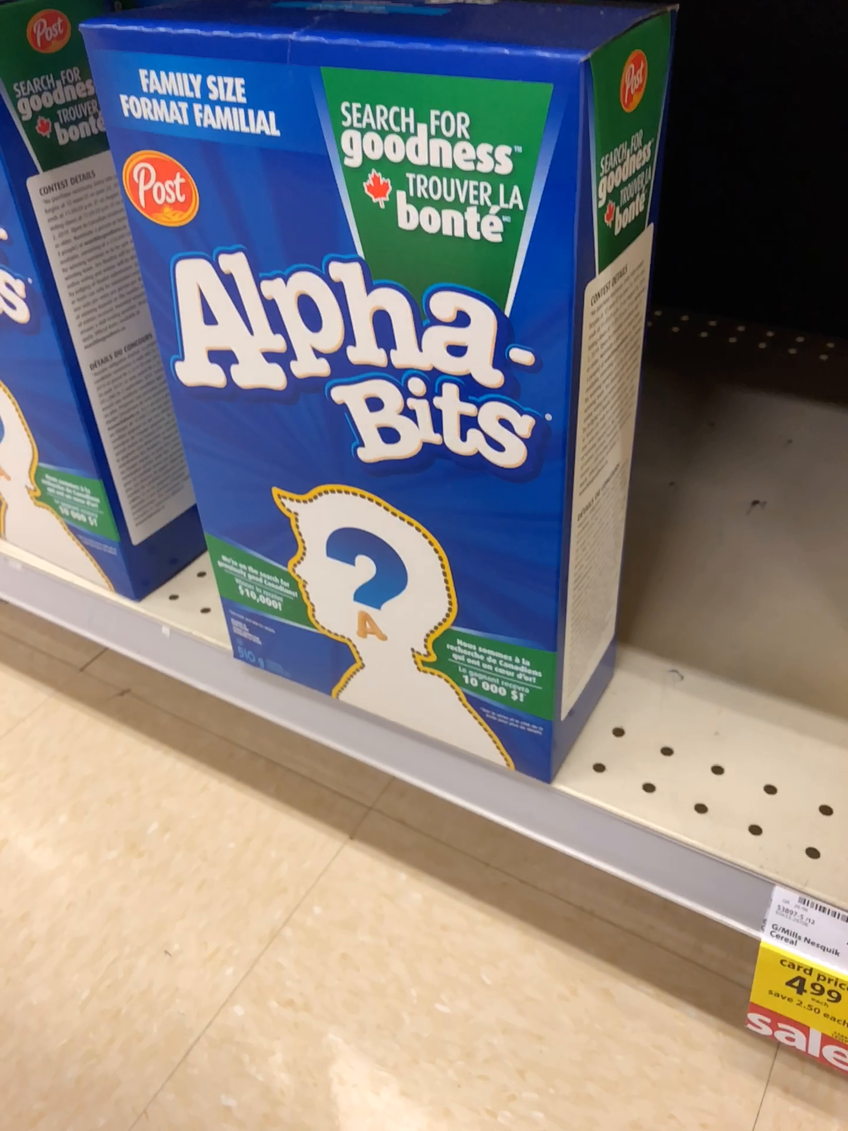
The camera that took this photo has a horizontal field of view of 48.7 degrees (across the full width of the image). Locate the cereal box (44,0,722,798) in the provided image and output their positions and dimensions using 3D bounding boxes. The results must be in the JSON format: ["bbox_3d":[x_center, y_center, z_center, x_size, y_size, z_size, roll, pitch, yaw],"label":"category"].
[{"bbox_3d":[-0.013,-0.064,0.397,0.211,0.298,0.080,18,43,24],"label":"cereal box"}]
